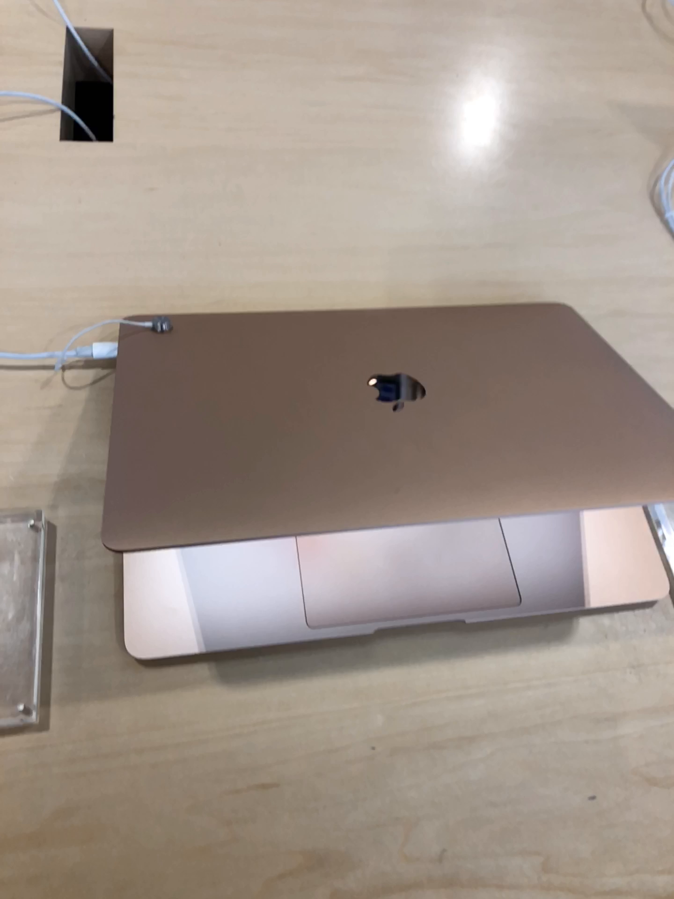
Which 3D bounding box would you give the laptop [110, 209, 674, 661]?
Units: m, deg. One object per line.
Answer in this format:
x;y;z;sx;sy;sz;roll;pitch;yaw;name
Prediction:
0.037;-0.019;0.398;0.288;0.093;0.203;-4;60;-11;laptop
